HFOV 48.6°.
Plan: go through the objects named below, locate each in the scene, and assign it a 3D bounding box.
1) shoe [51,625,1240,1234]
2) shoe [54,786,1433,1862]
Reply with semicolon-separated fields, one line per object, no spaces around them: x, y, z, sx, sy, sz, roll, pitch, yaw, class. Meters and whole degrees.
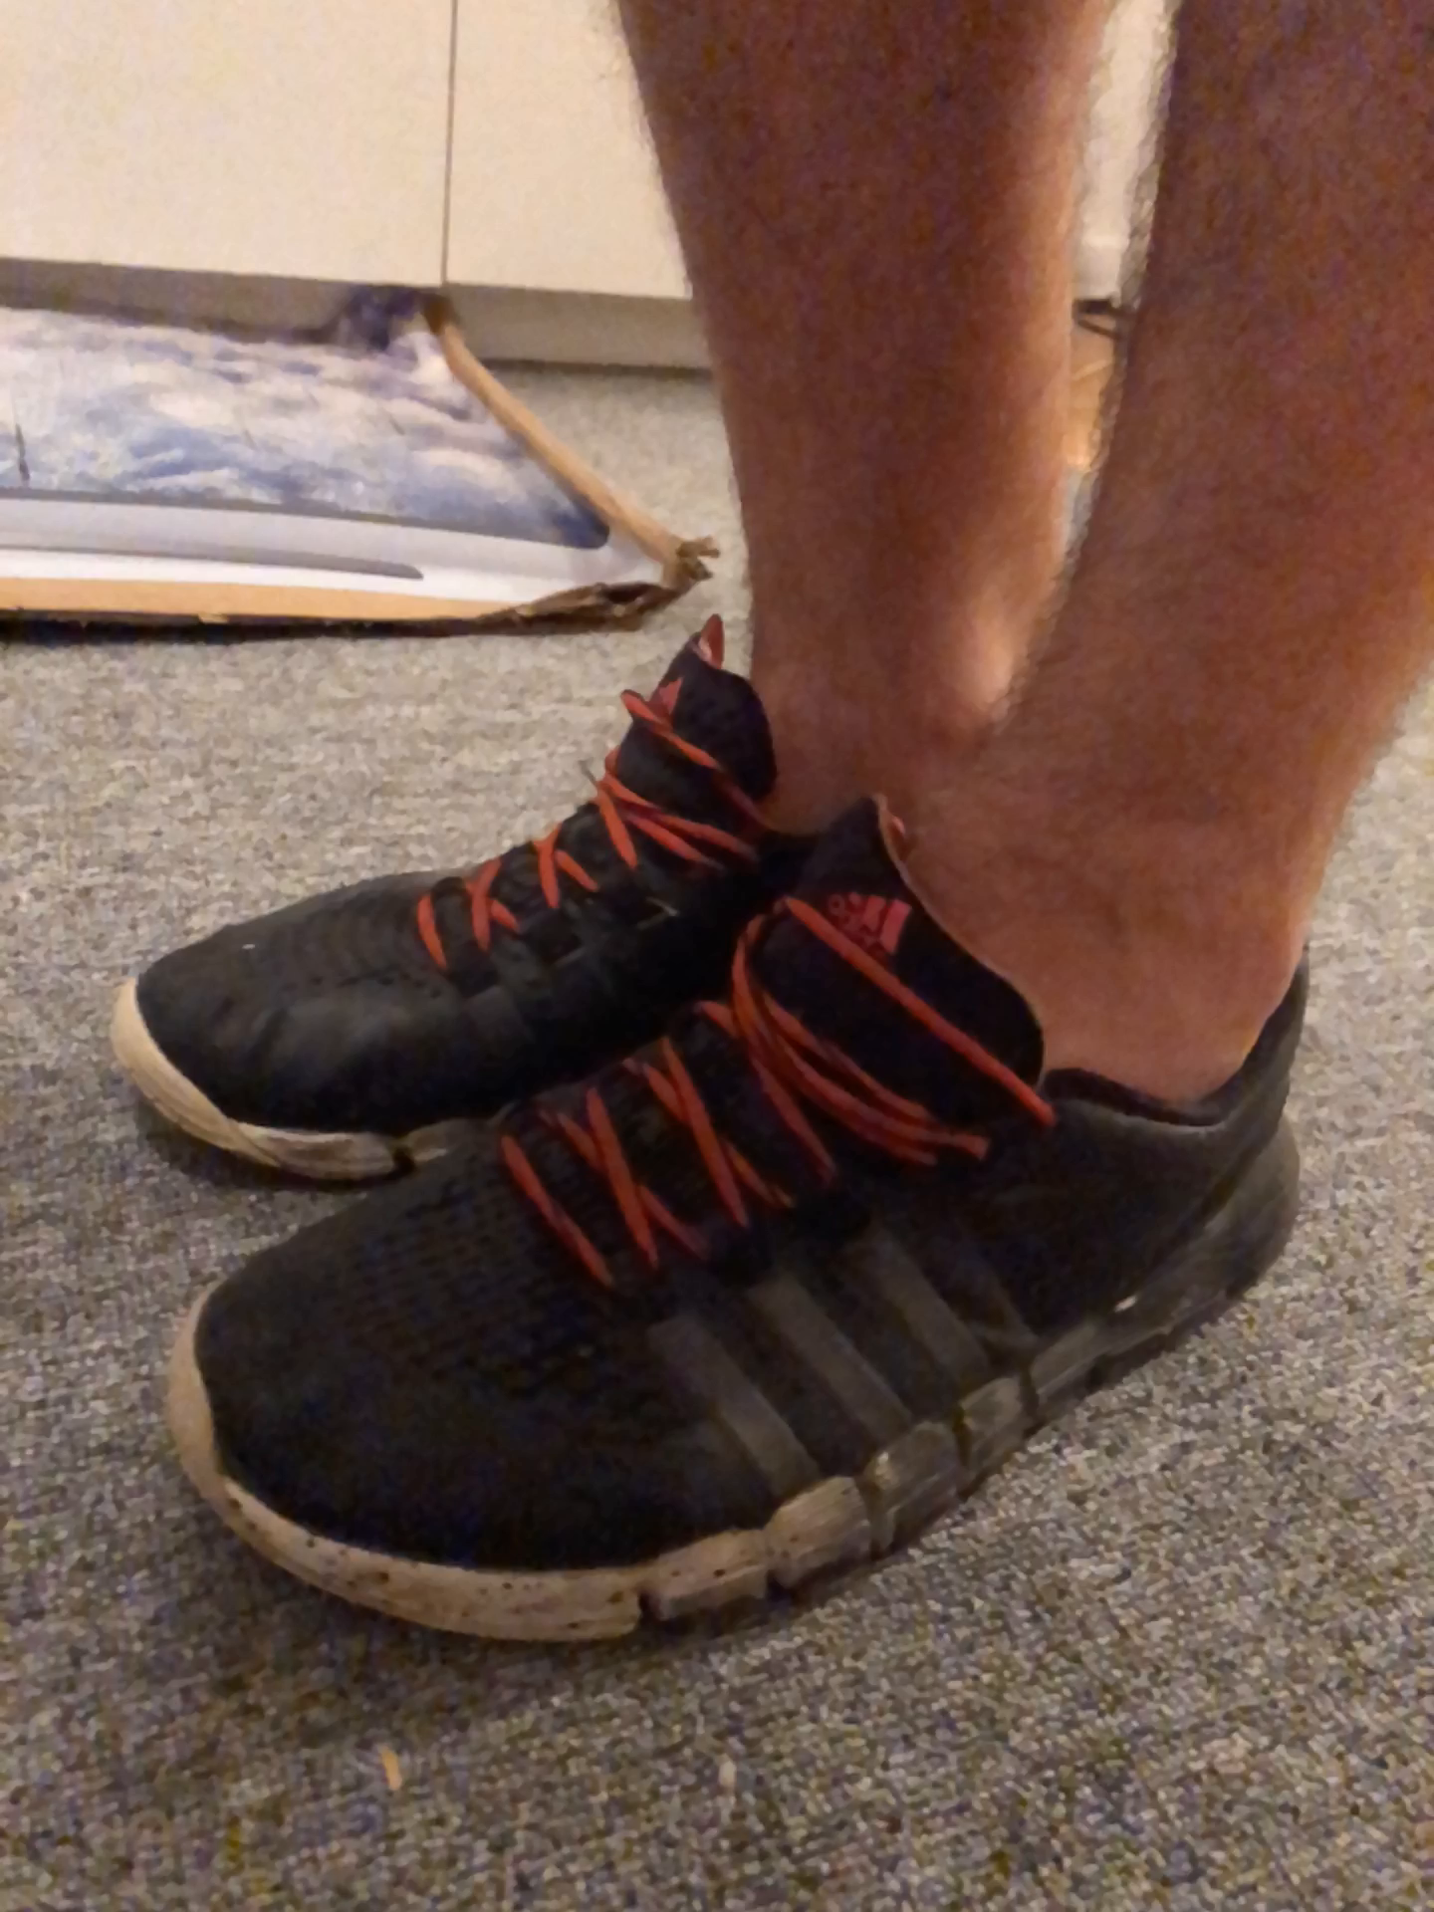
-0.021;-0.023;0.454;0.300;0.099;0.121;-6;34;-23;shoe
0.036;0.049;0.363;0.321;0.089;0.131;-12;36;-30;shoe
